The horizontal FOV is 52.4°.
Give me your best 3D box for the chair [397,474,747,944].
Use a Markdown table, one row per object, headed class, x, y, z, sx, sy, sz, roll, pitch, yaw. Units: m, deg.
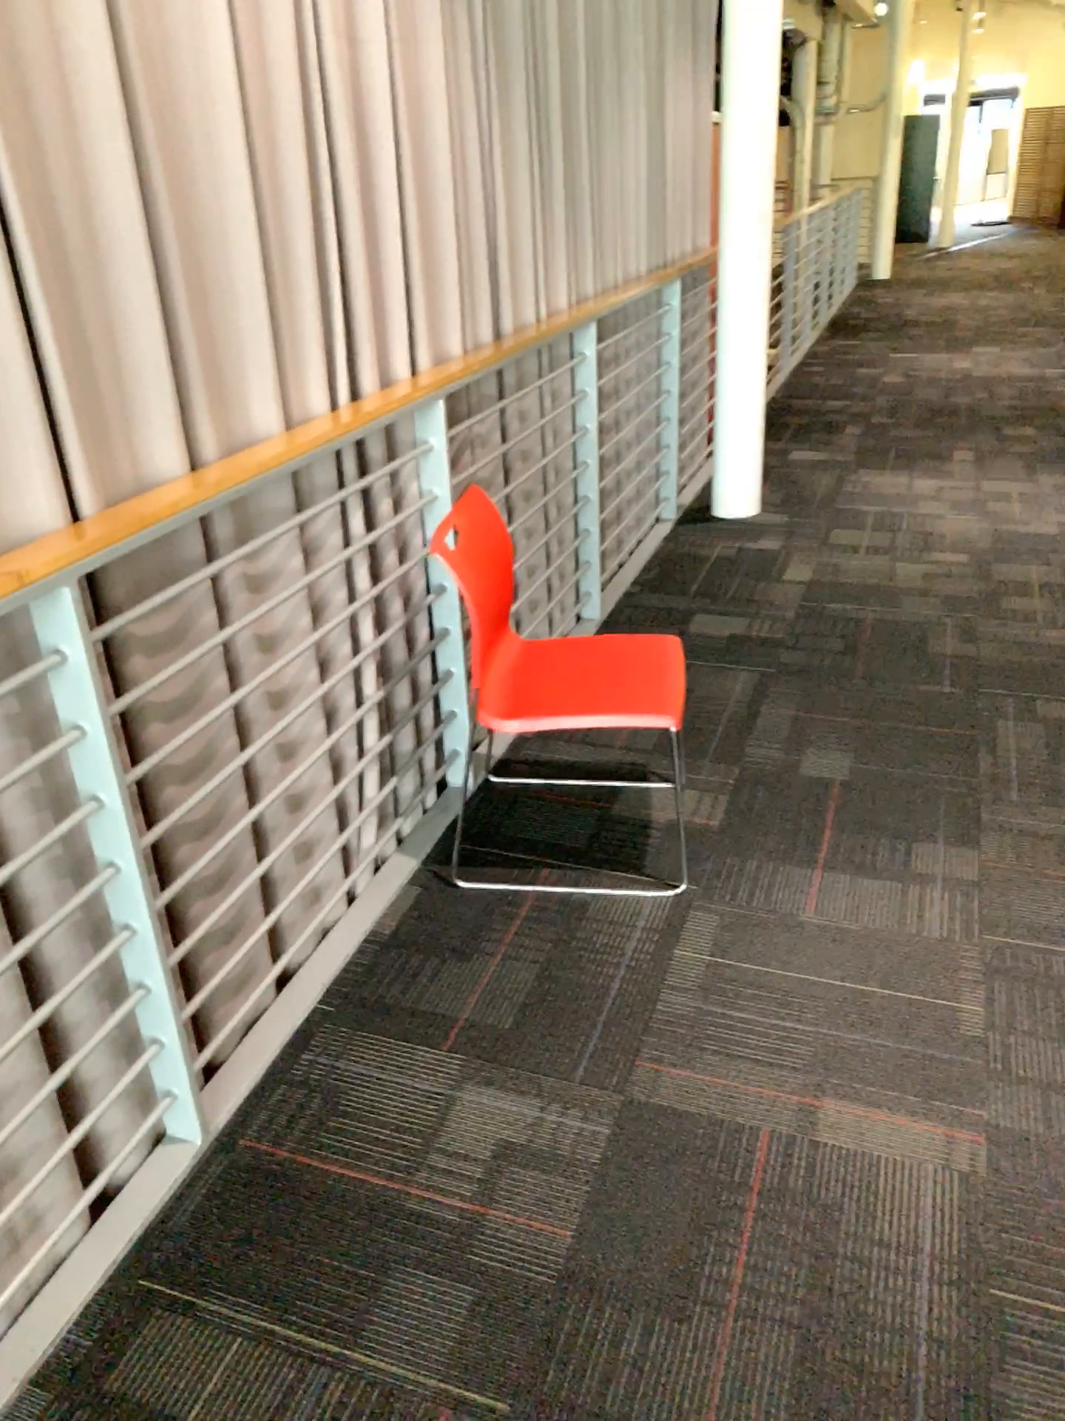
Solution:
| class | x | y | z | sx | sy | sz | roll | pitch | yaw |
| --- | --- | --- | --- | --- | --- | --- | --- | --- | --- |
| chair | 0.100 | -0.029 | 2.508 | 0.660 | 0.855 | 0.633 | 3 | 27 | 5 |
